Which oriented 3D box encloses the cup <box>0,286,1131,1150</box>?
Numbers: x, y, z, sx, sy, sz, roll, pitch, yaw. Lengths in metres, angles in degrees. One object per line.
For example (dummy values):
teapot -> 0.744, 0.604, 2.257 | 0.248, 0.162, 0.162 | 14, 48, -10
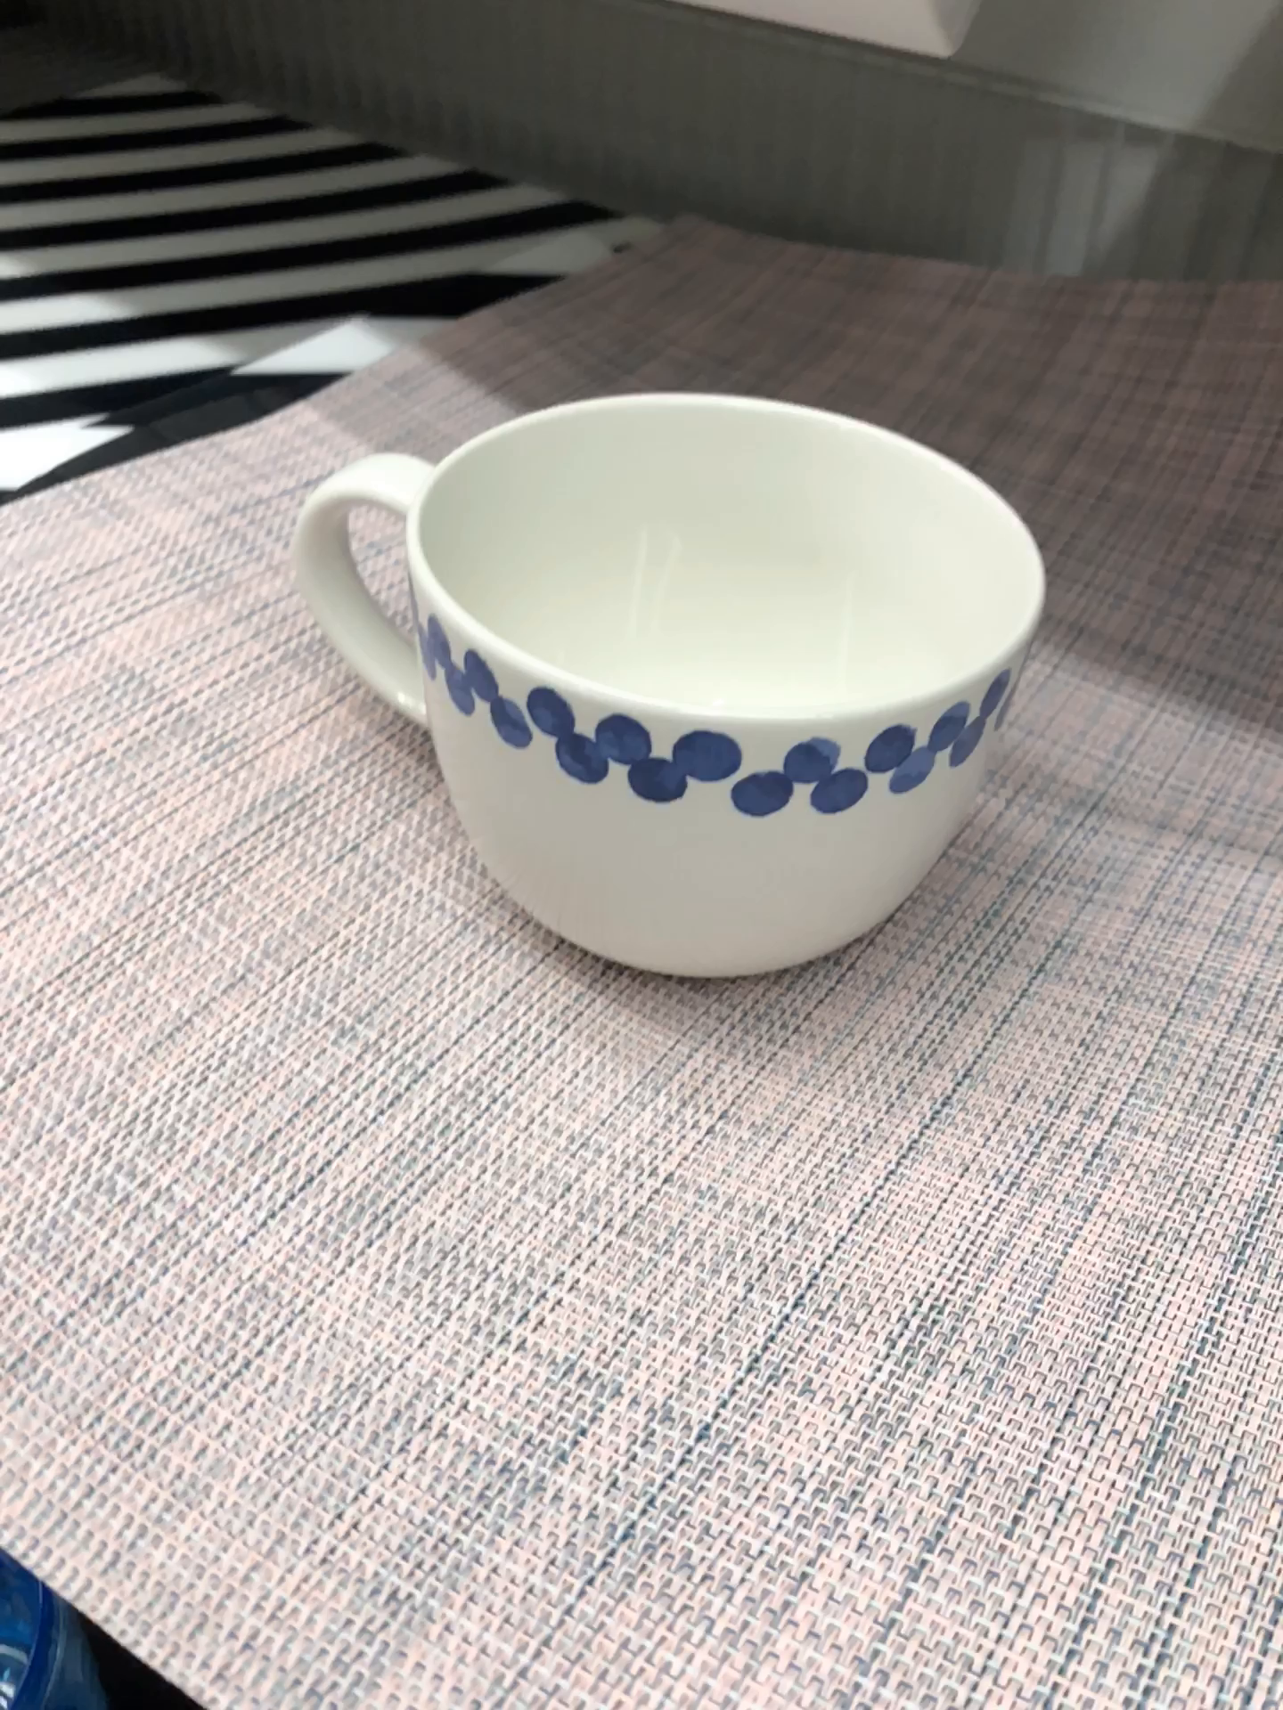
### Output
cup -> -0.010, -0.037, 0.251 | 0.150, 0.060, 0.110 | 21, 43, 19
